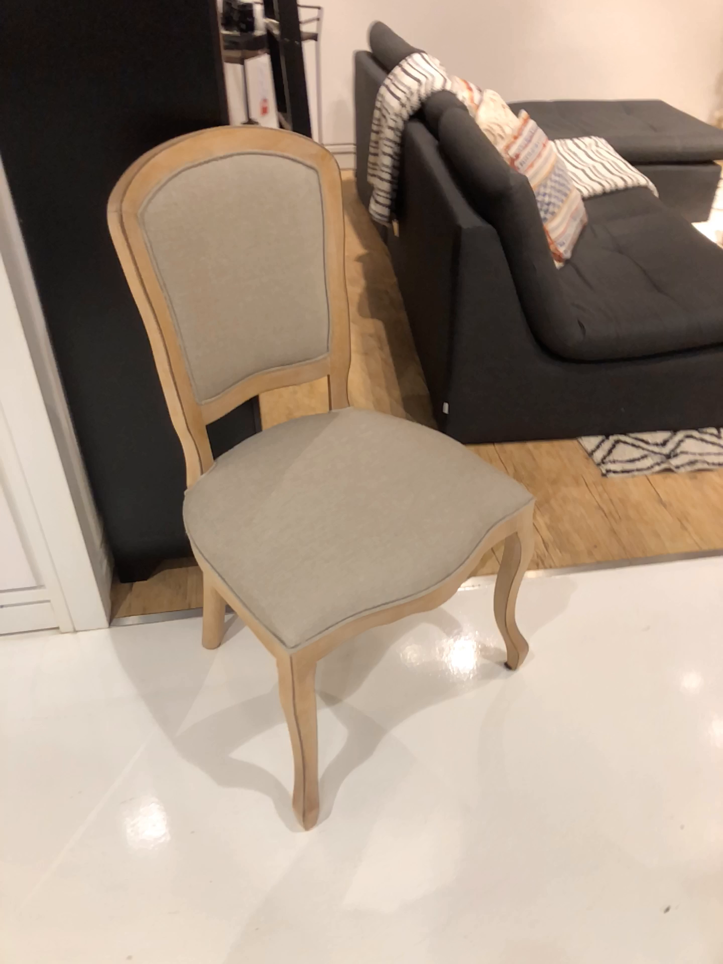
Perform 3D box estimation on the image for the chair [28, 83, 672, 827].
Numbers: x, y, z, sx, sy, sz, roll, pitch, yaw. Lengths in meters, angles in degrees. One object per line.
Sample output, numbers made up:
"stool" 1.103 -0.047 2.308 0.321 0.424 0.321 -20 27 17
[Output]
"chair" -0.016 -0.071 1.265 0.602 0.873 0.552 -28 45 -31
